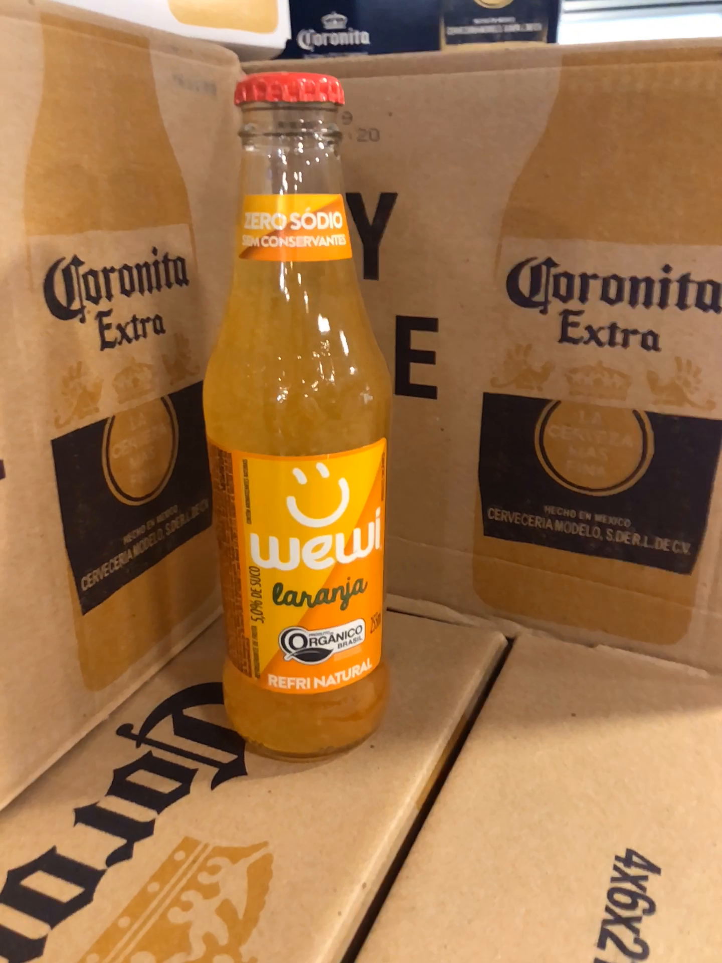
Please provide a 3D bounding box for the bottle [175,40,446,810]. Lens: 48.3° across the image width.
[{"bbox_3d":[-0.017,-0.011,0.246,0.060,0.209,0.060,0,19,0],"label":"bottle"}]
